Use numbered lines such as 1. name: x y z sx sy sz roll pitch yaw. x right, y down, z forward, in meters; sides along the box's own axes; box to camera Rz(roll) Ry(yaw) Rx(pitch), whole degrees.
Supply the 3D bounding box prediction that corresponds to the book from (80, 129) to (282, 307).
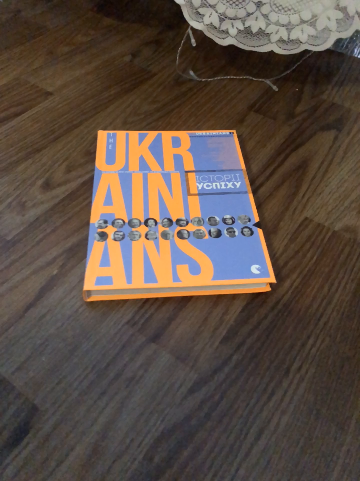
1. book: -0.007 -0.037 0.396 0.164 0.020 0.216 -1 51 -6
